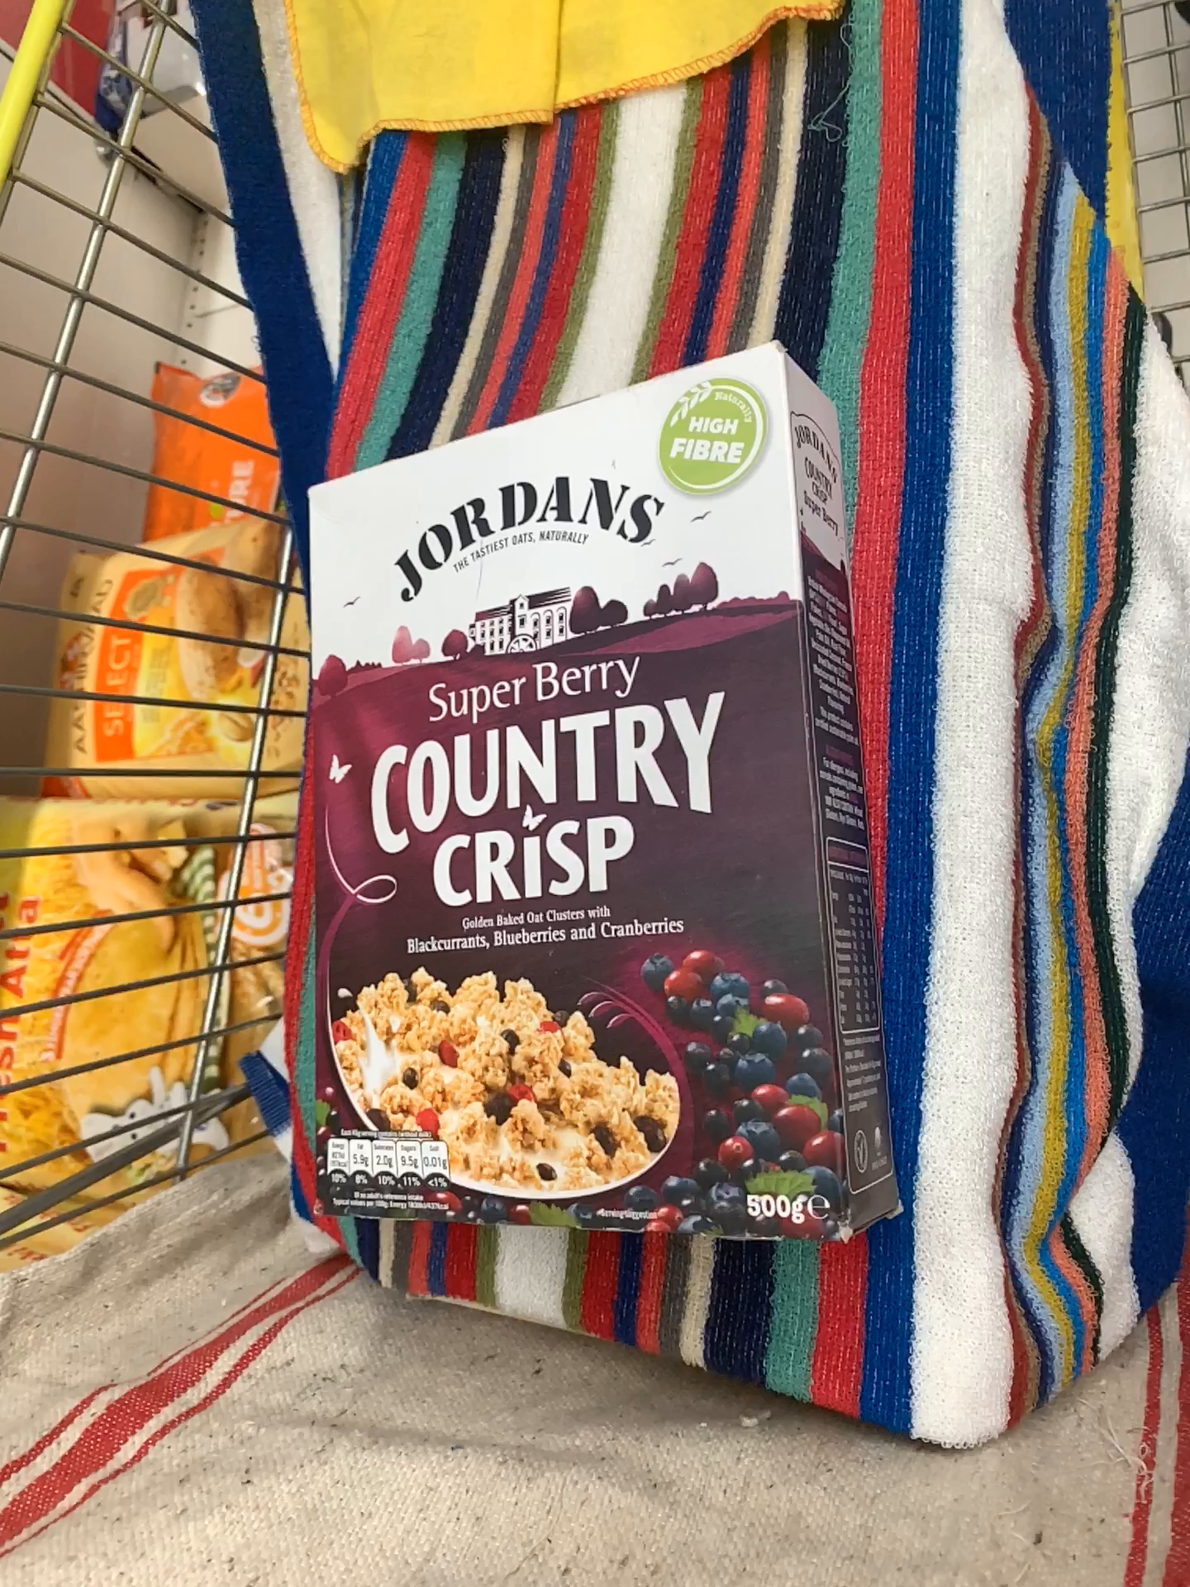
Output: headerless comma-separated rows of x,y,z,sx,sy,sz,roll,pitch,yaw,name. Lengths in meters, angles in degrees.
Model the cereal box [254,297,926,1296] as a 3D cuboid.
-0.012,0.007,0.360,0.181,0.060,0.240,-8,78,30,cereal box
